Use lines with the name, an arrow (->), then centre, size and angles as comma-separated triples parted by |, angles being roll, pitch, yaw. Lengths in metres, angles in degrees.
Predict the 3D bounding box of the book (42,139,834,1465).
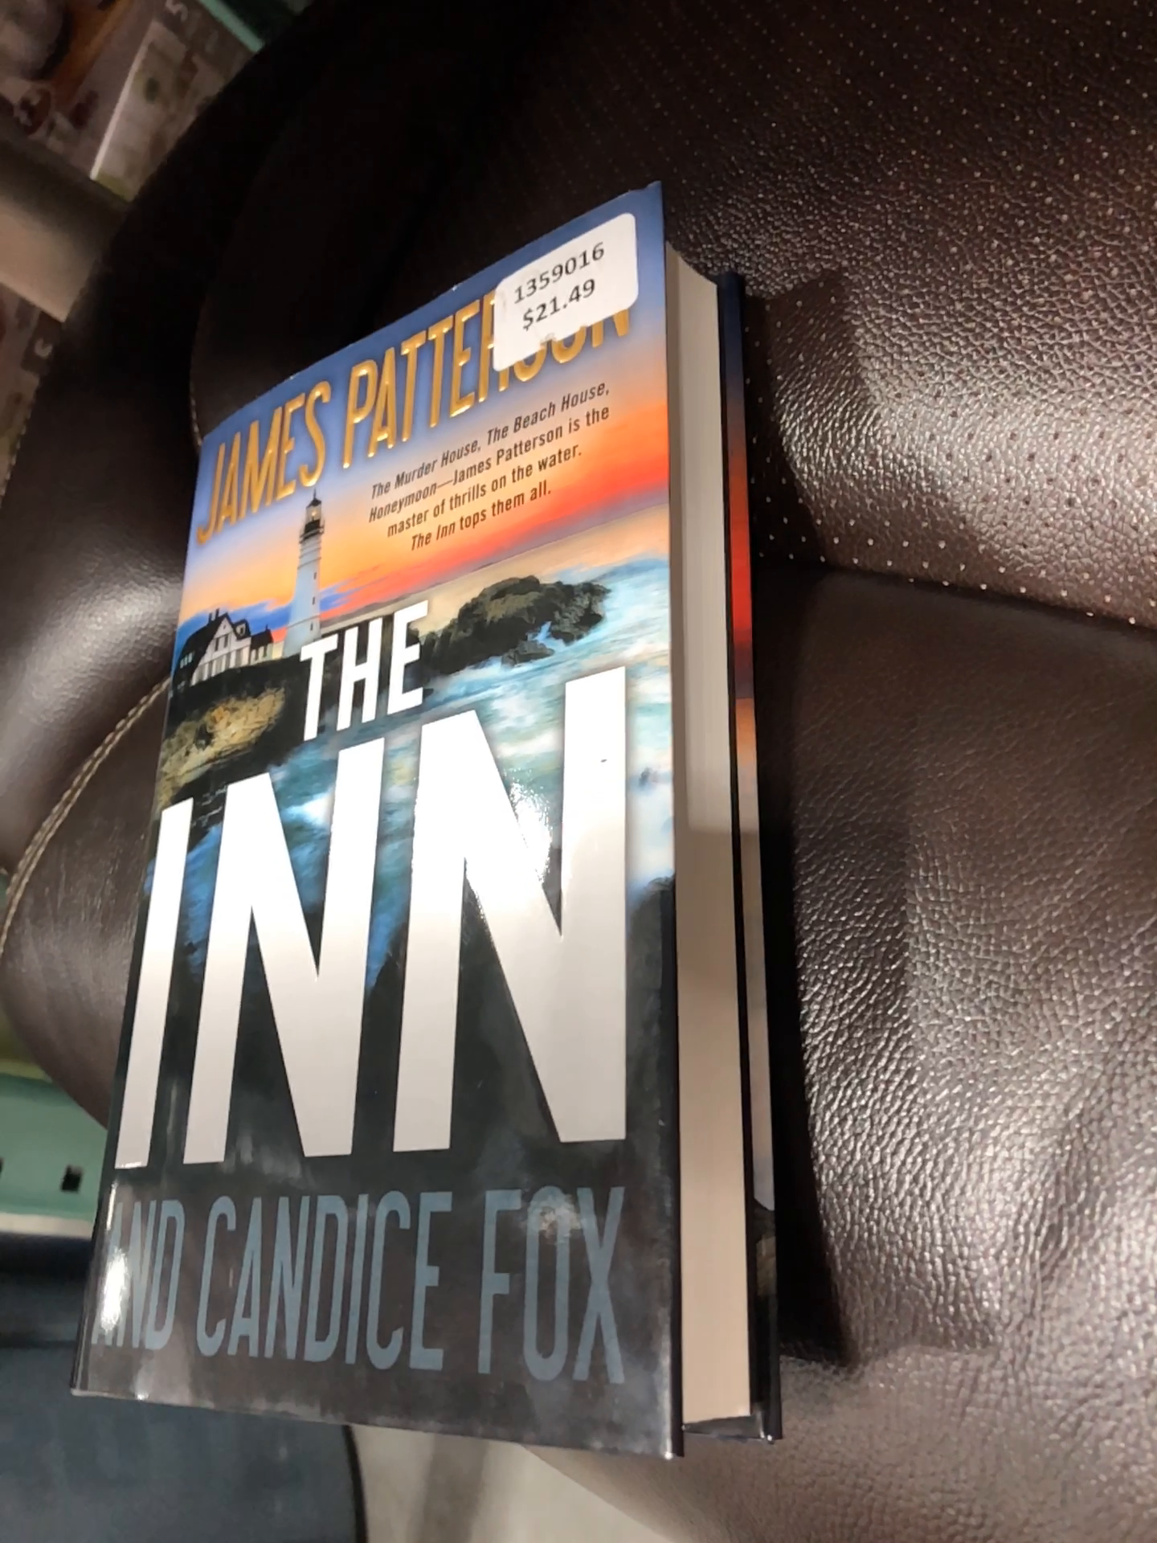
book -> -0.036, 0.006, 0.293 | 0.171, 0.040, 0.250 | -16, 63, 36
